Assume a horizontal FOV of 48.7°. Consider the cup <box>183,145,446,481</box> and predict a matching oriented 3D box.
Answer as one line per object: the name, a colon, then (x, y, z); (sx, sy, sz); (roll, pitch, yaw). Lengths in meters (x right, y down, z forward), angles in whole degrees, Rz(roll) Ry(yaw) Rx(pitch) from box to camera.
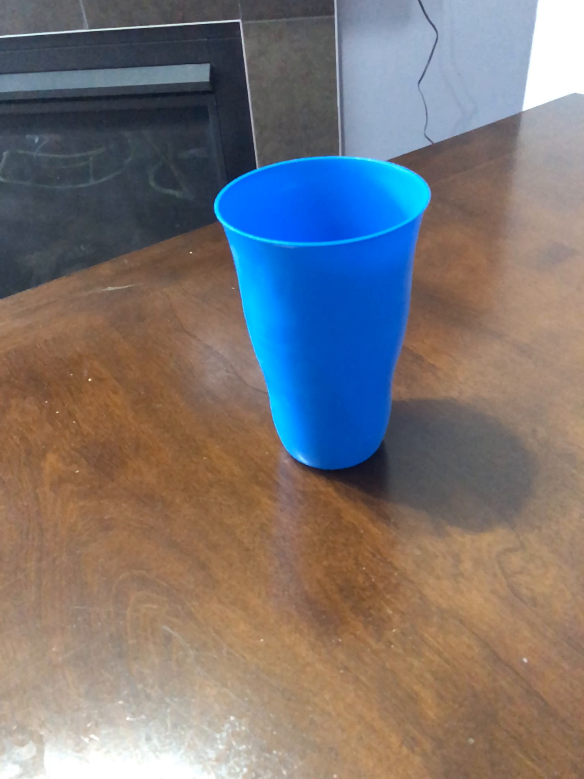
cup: (0.021, -0.040, 0.325); (0.100, 0.129, 0.100); (-3, 38, 3)
